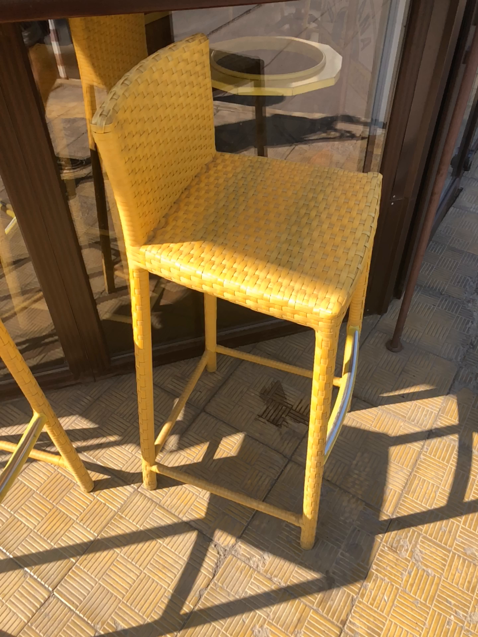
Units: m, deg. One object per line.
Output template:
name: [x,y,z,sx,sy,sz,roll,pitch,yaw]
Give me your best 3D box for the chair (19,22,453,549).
chair: [0.039,-0.028,1.102,0.520,0.916,0.482,14,45,14]
